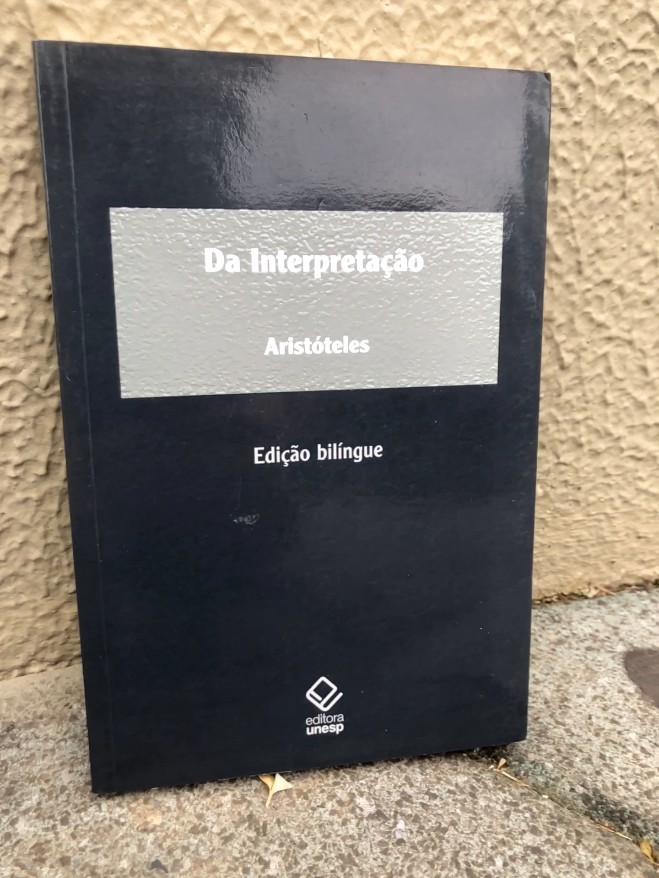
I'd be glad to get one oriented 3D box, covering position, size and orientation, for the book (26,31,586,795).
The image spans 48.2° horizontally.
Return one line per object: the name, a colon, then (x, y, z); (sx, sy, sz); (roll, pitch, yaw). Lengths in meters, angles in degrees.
book: (-0.003, -0.003, 0.204); (0.132, 0.187, 0.030); (-3, 11, -10)
